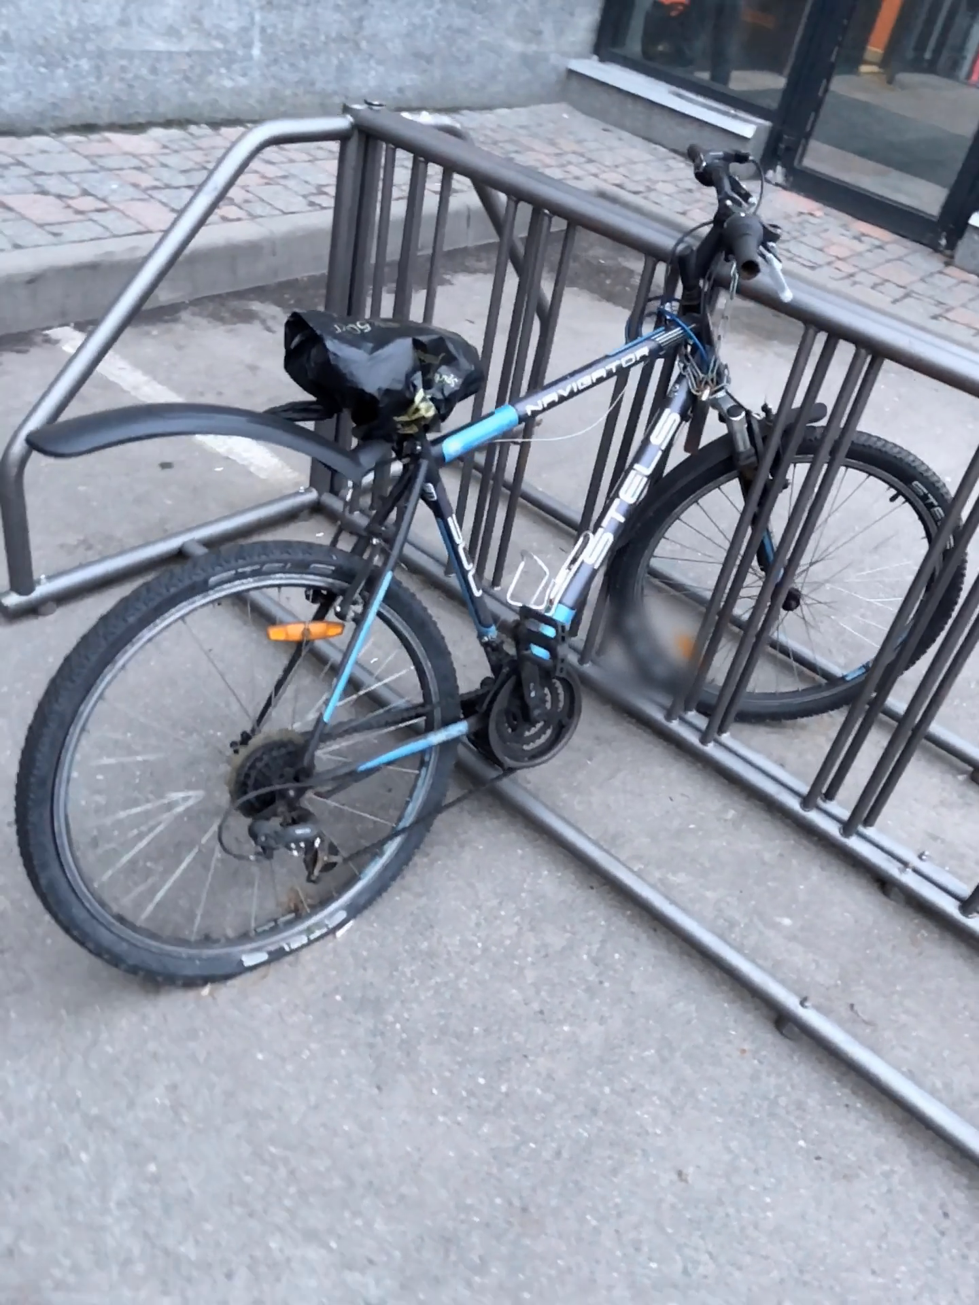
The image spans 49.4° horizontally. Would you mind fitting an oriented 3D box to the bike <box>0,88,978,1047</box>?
[{"bbox_3d":[0.056,-0.206,1.620,1.587,1.050,0.536,-13,45,-26],"label":"bike"}]
